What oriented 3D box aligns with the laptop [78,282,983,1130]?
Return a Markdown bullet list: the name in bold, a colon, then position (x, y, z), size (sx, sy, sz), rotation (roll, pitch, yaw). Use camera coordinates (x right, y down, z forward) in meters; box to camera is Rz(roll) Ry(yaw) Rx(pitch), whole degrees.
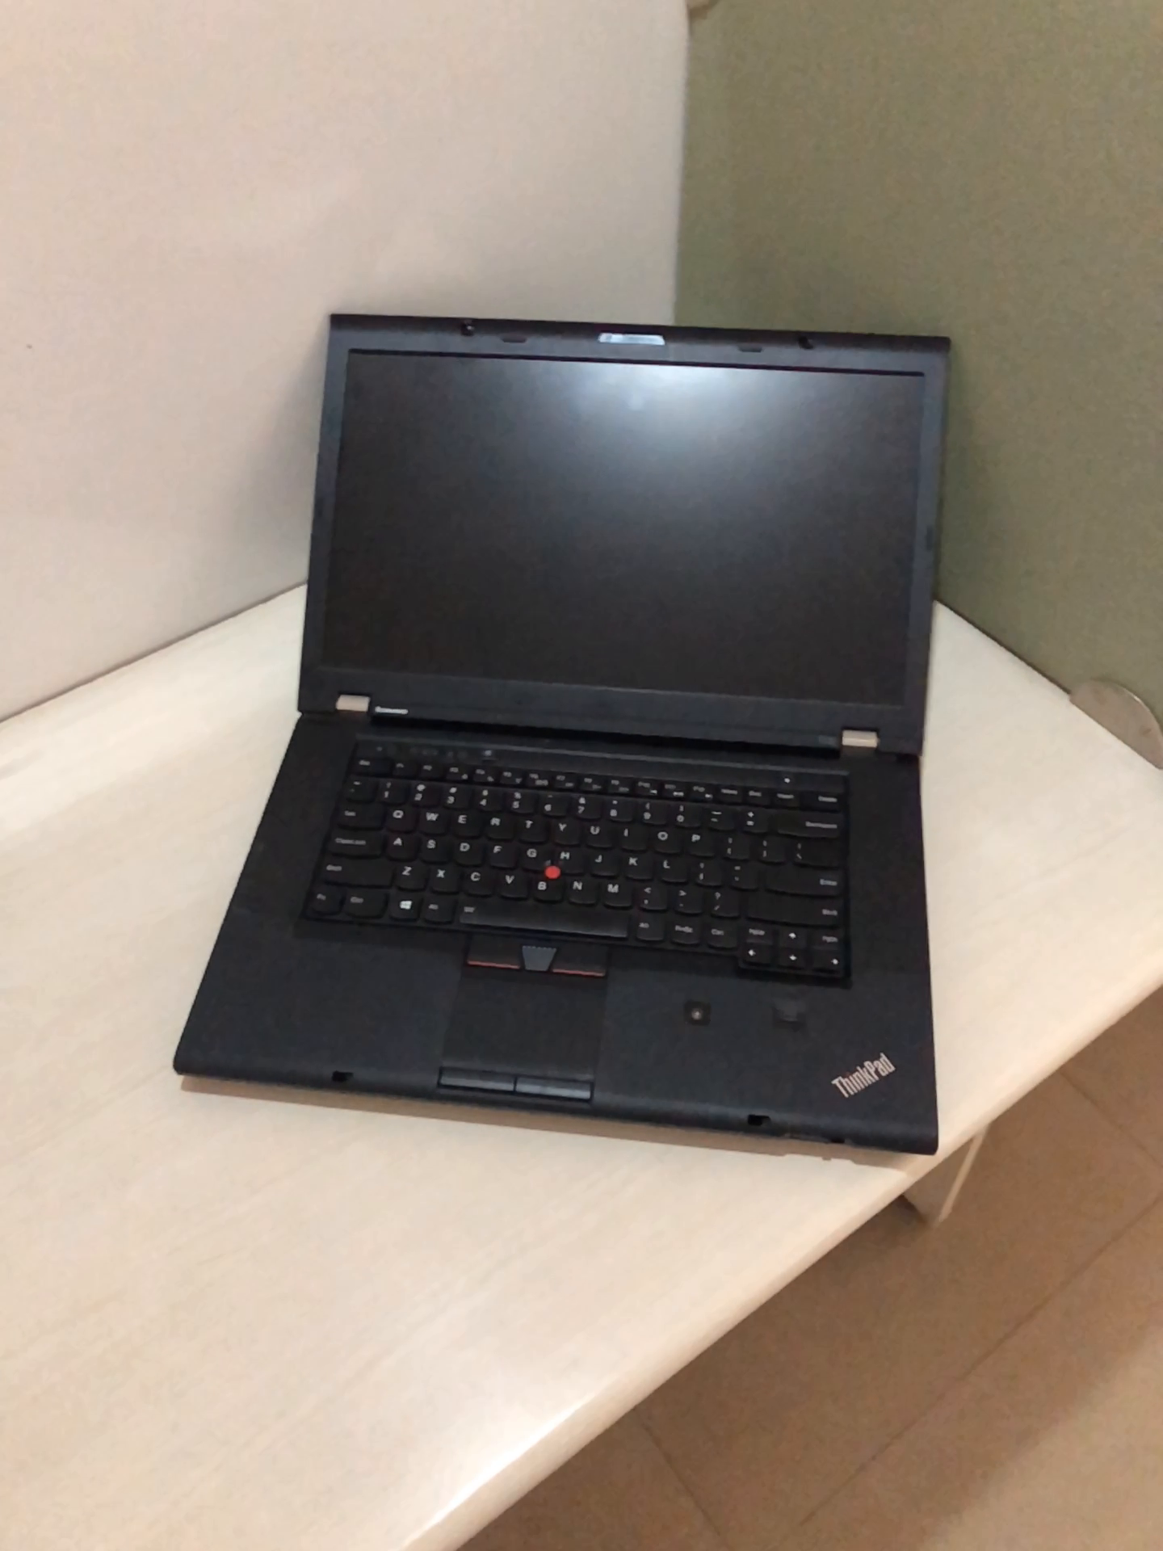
- **laptop**: position (0.006, -0.066, 0.663), size (0.353, 0.142, 0.413), rotation (5, 54, 8)
